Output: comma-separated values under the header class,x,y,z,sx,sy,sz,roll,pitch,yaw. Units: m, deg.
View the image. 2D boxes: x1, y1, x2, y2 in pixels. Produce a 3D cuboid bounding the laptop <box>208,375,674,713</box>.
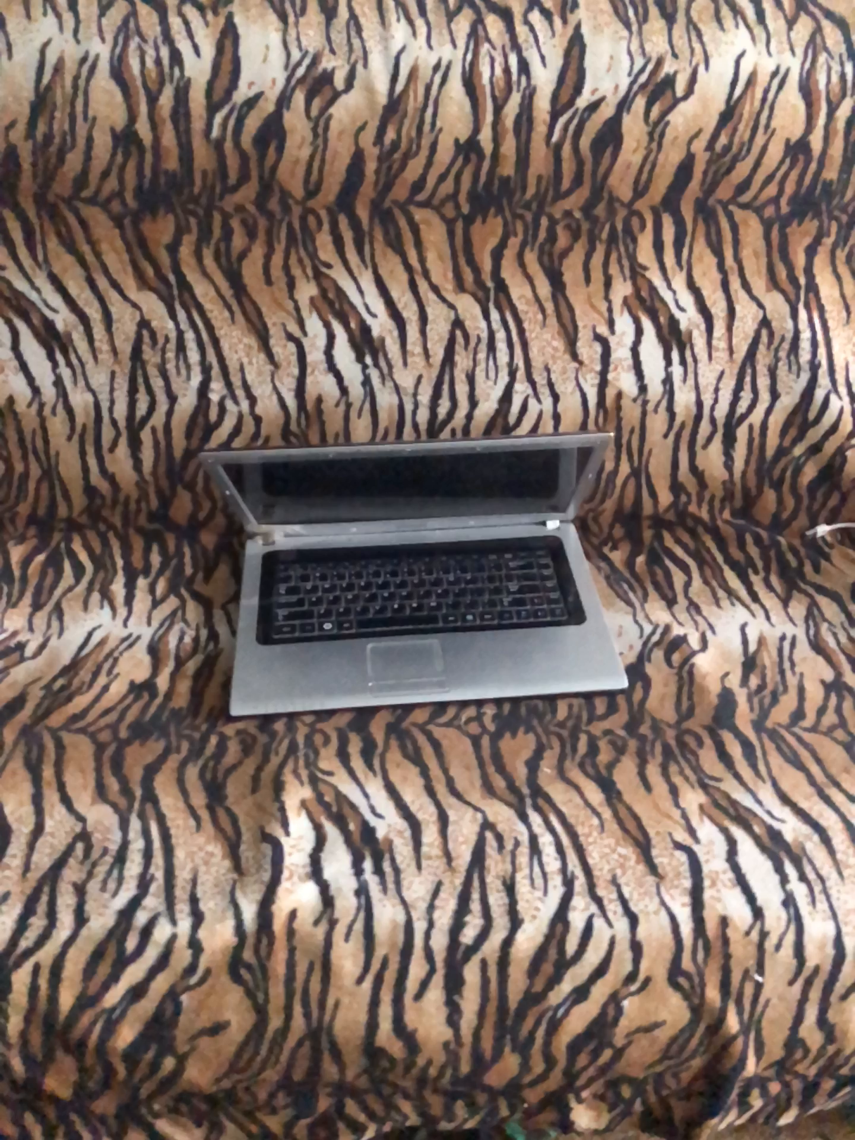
class,x,y,z,sx,sy,sz,roll,pitch,yaw
laptop,-0.001,-0.031,0.852,0.350,0.179,0.239,-3,42,-4
